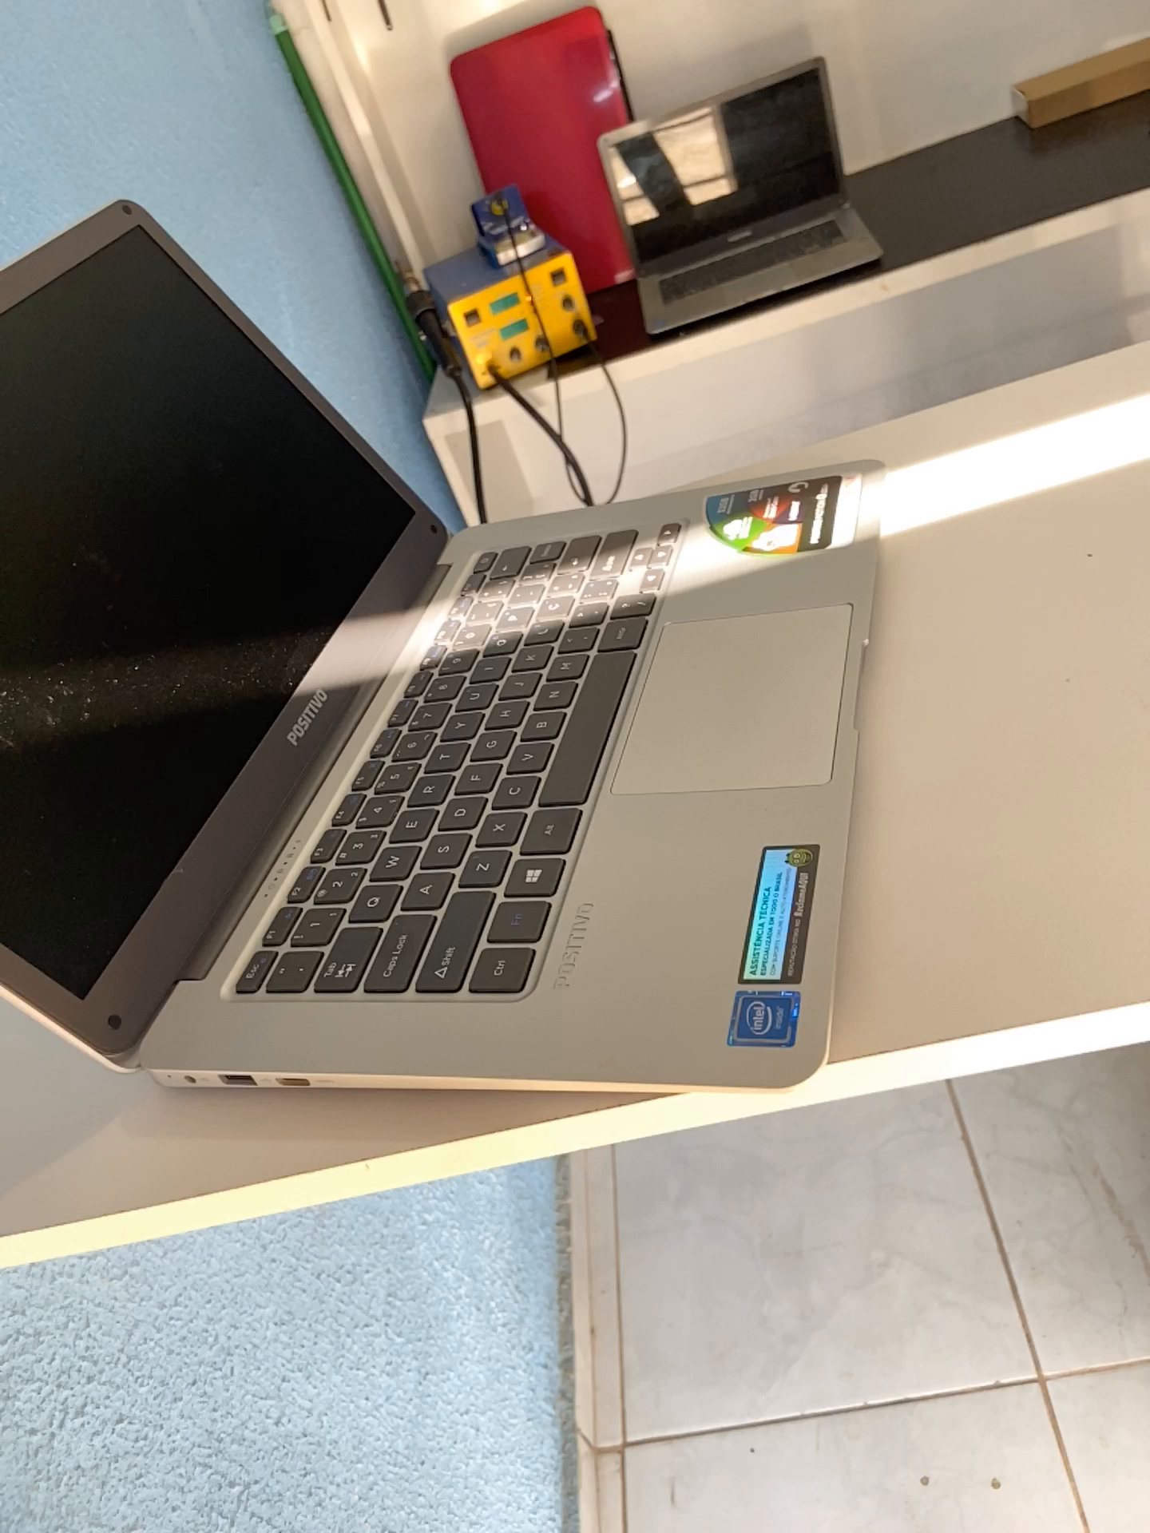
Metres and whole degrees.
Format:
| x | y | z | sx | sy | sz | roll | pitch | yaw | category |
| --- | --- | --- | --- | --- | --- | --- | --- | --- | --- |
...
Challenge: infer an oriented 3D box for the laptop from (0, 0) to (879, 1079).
| x | y | z | sx | sy | sz | roll | pitch | yaw | category |
| --- | --- | --- | --- | --- | --- | --- | --- | --- | --- |
| -0.077 | -0.089 | 0.418 | 0.311 | 0.189 | 0.334 | -5 | 38 | 22 | laptop |
